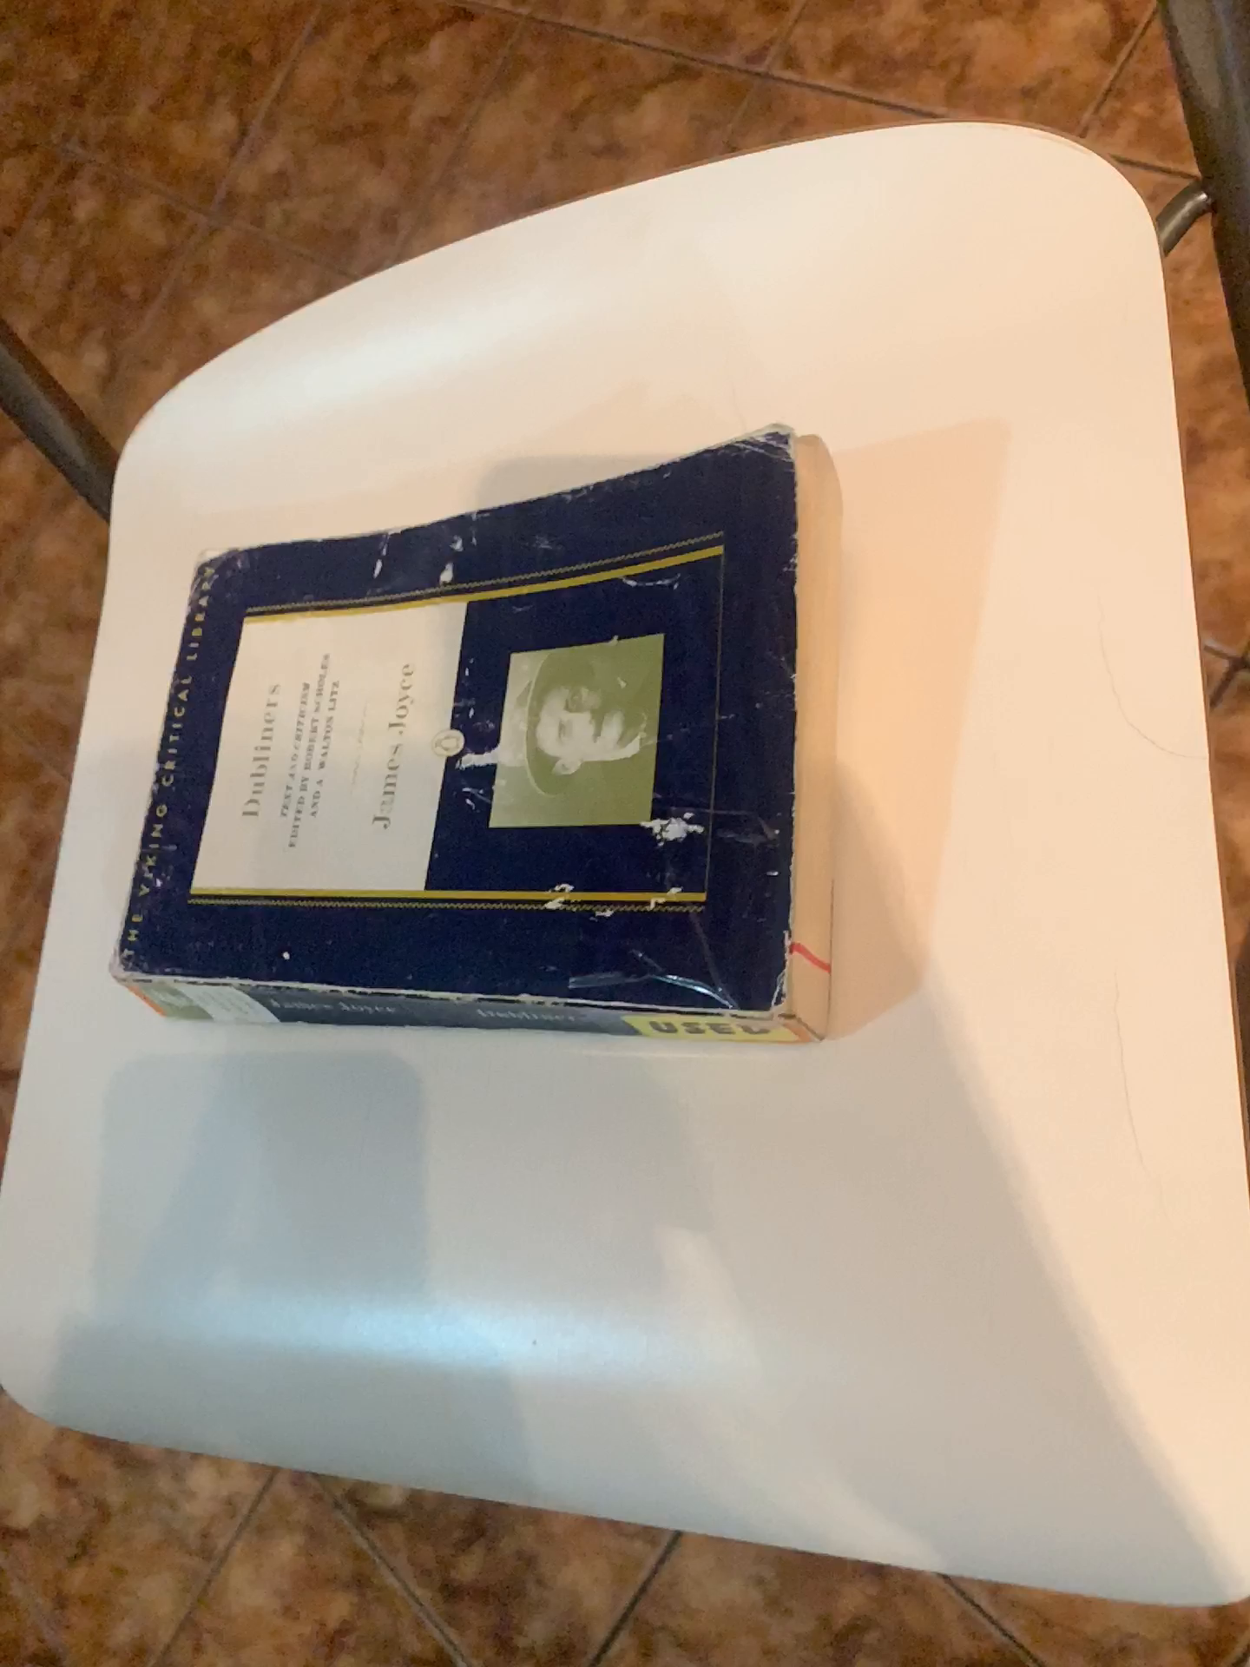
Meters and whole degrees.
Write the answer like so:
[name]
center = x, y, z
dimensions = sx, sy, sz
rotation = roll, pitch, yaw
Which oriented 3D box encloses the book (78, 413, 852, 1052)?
[book]
center = -0.046, -0.017, 0.321
dimensions = 0.198, 0.035, 0.132
rotation = -3, 77, 28
